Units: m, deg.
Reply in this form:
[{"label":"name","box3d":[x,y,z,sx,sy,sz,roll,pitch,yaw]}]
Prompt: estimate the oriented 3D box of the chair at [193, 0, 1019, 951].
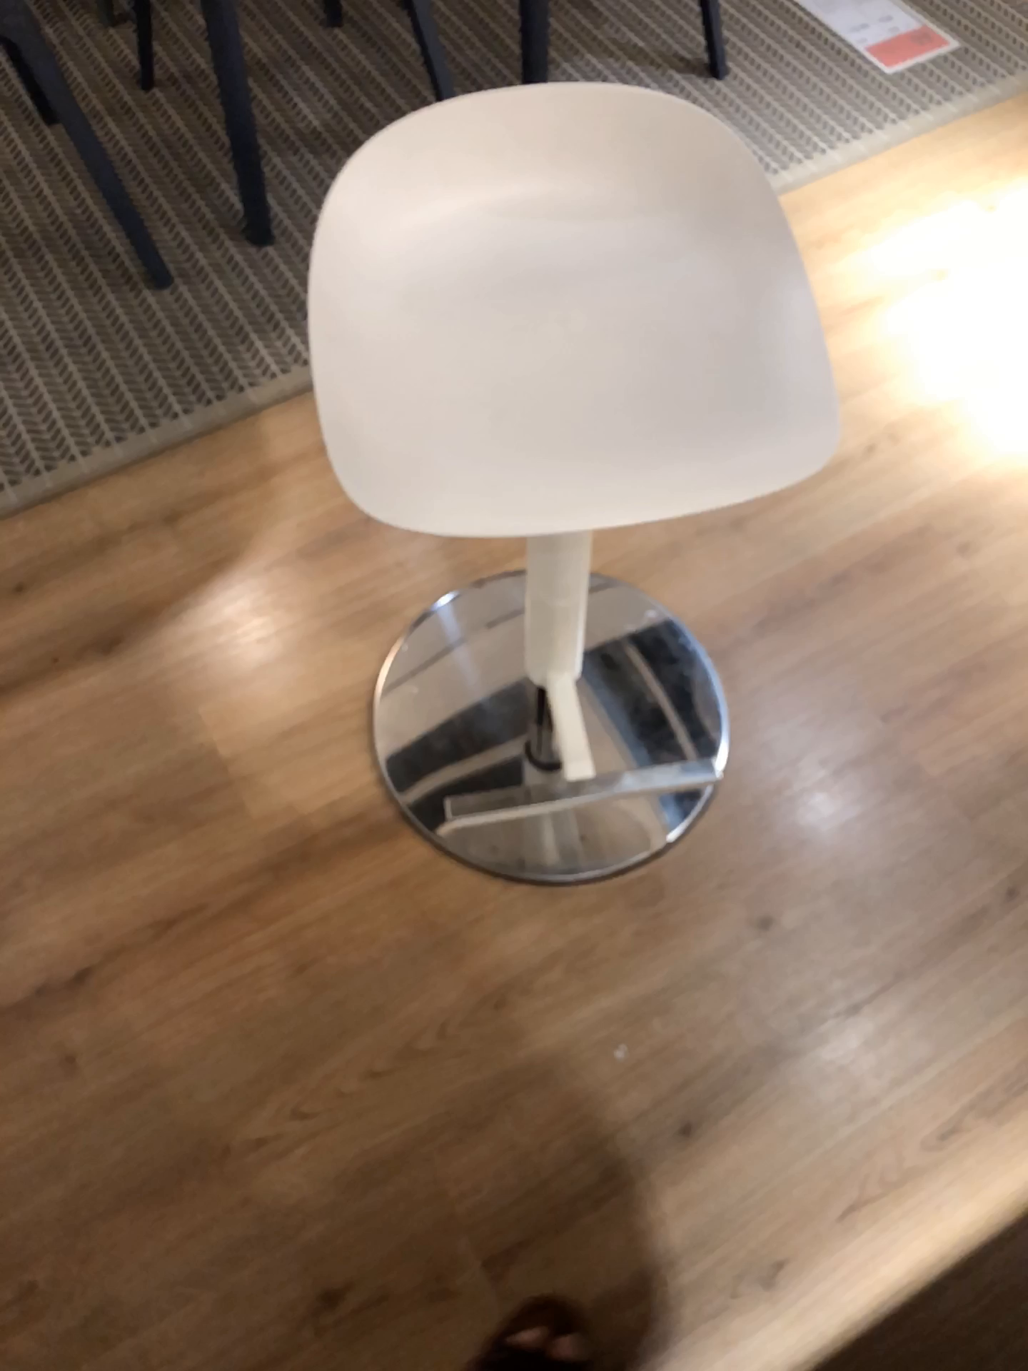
[{"label":"chair","box3d":[0.029,-0.129,1.053,0.440,0.699,0.451,-11,60,-6]}]
